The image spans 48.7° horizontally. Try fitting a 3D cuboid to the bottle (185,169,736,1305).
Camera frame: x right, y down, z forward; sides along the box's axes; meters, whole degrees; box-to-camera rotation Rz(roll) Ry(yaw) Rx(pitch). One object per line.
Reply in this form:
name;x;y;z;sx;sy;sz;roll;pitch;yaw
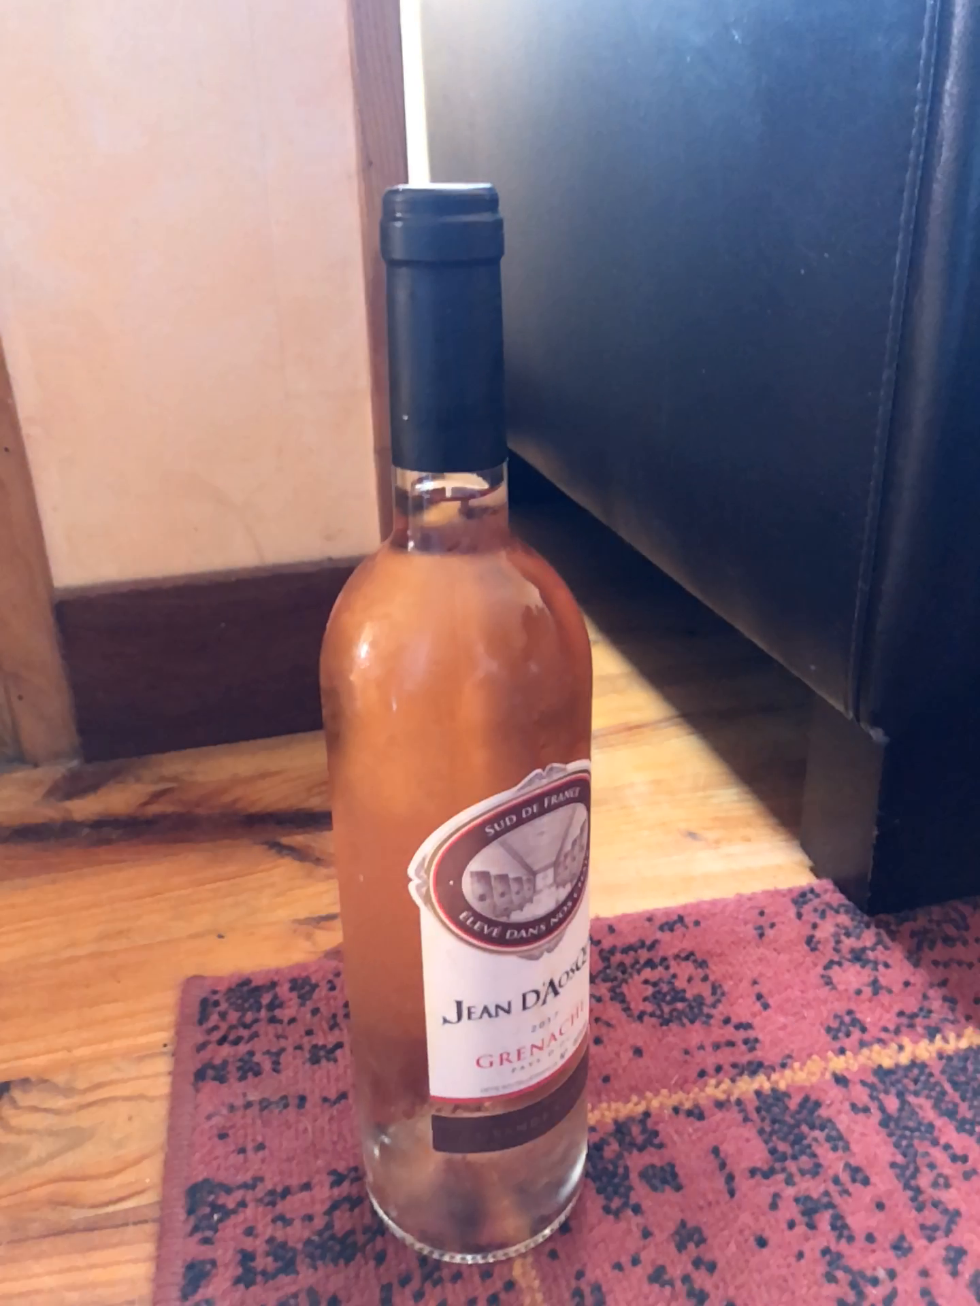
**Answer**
bottle;-0.003;0.036;0.300;0.090;0.308;0.080;-20;30;-34
